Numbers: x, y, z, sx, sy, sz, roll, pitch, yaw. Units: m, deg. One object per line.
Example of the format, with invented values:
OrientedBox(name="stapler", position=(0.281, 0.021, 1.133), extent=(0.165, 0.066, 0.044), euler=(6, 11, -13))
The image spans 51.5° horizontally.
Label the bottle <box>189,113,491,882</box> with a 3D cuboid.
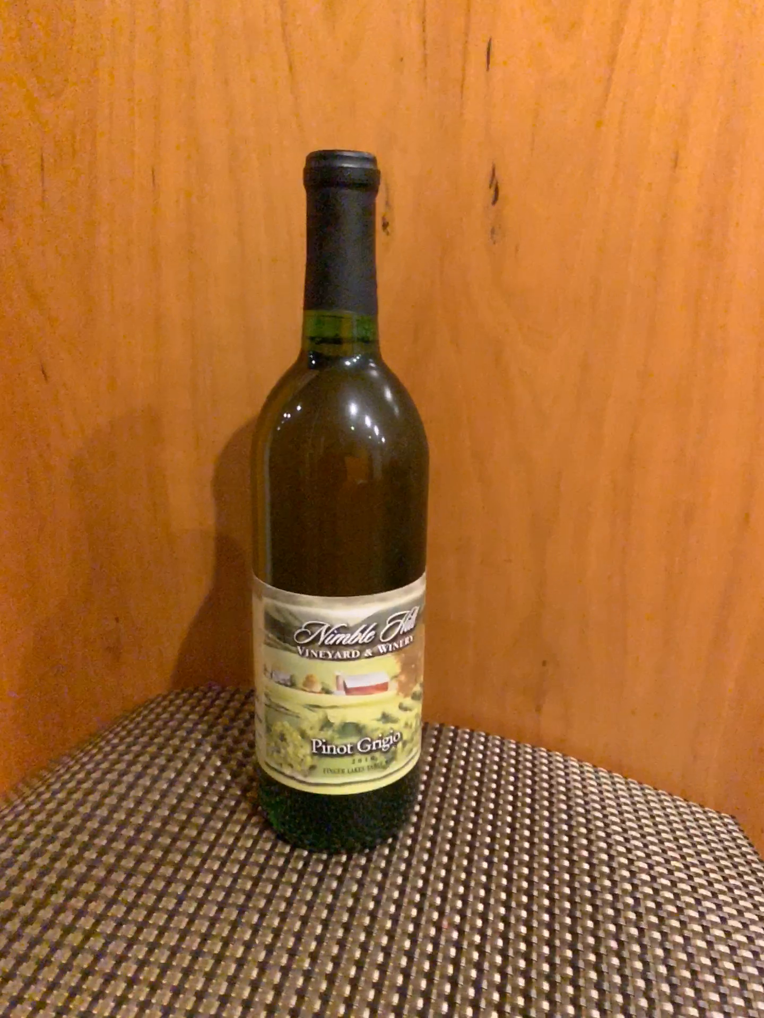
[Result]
OrientedBox(name="bottle", position=(-0.019, 0.002, 0.311), extent=(0.090, 0.269, 0.080), euler=(0, 16, -6))
